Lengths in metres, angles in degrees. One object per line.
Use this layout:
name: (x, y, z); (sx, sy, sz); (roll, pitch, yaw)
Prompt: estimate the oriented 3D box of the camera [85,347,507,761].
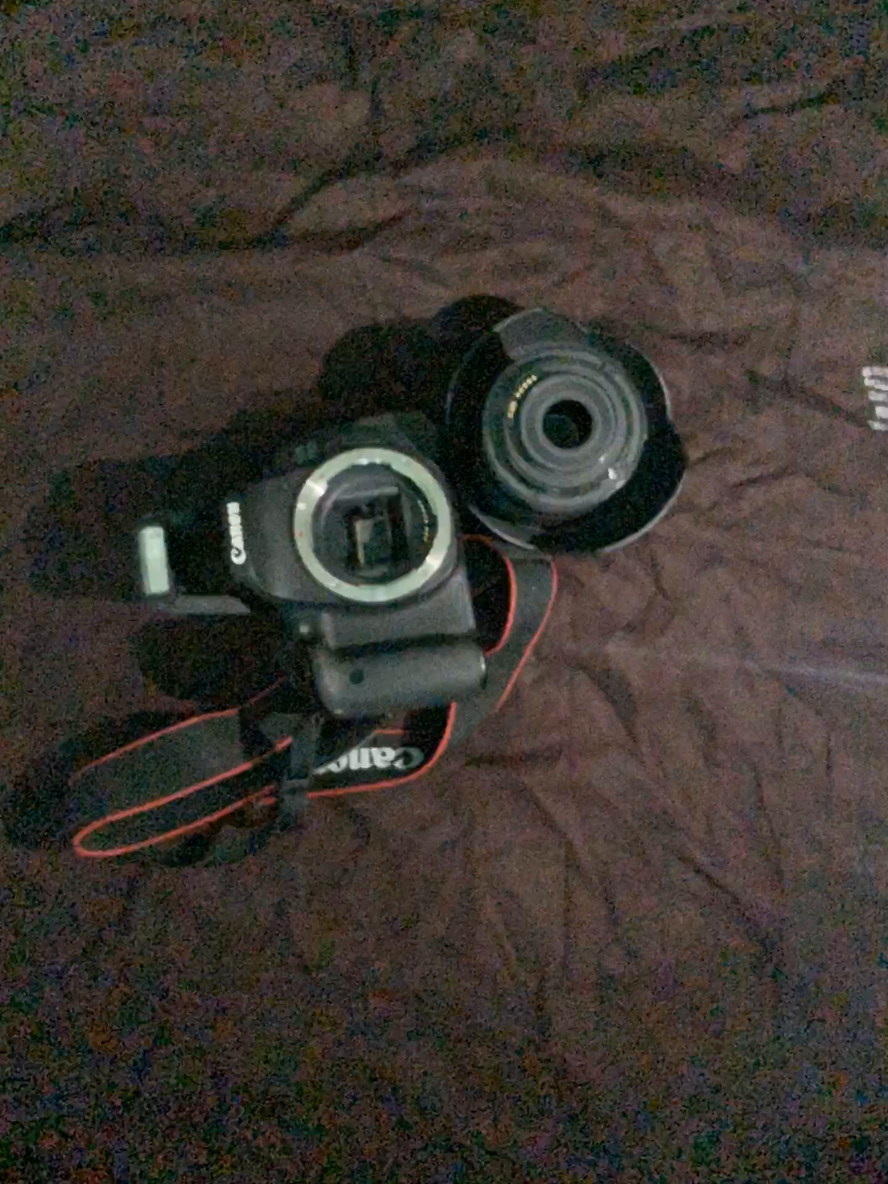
camera: (-0.065, -0.014, 0.415); (0.150, 0.083, 0.147); (-10, 77, -6)
